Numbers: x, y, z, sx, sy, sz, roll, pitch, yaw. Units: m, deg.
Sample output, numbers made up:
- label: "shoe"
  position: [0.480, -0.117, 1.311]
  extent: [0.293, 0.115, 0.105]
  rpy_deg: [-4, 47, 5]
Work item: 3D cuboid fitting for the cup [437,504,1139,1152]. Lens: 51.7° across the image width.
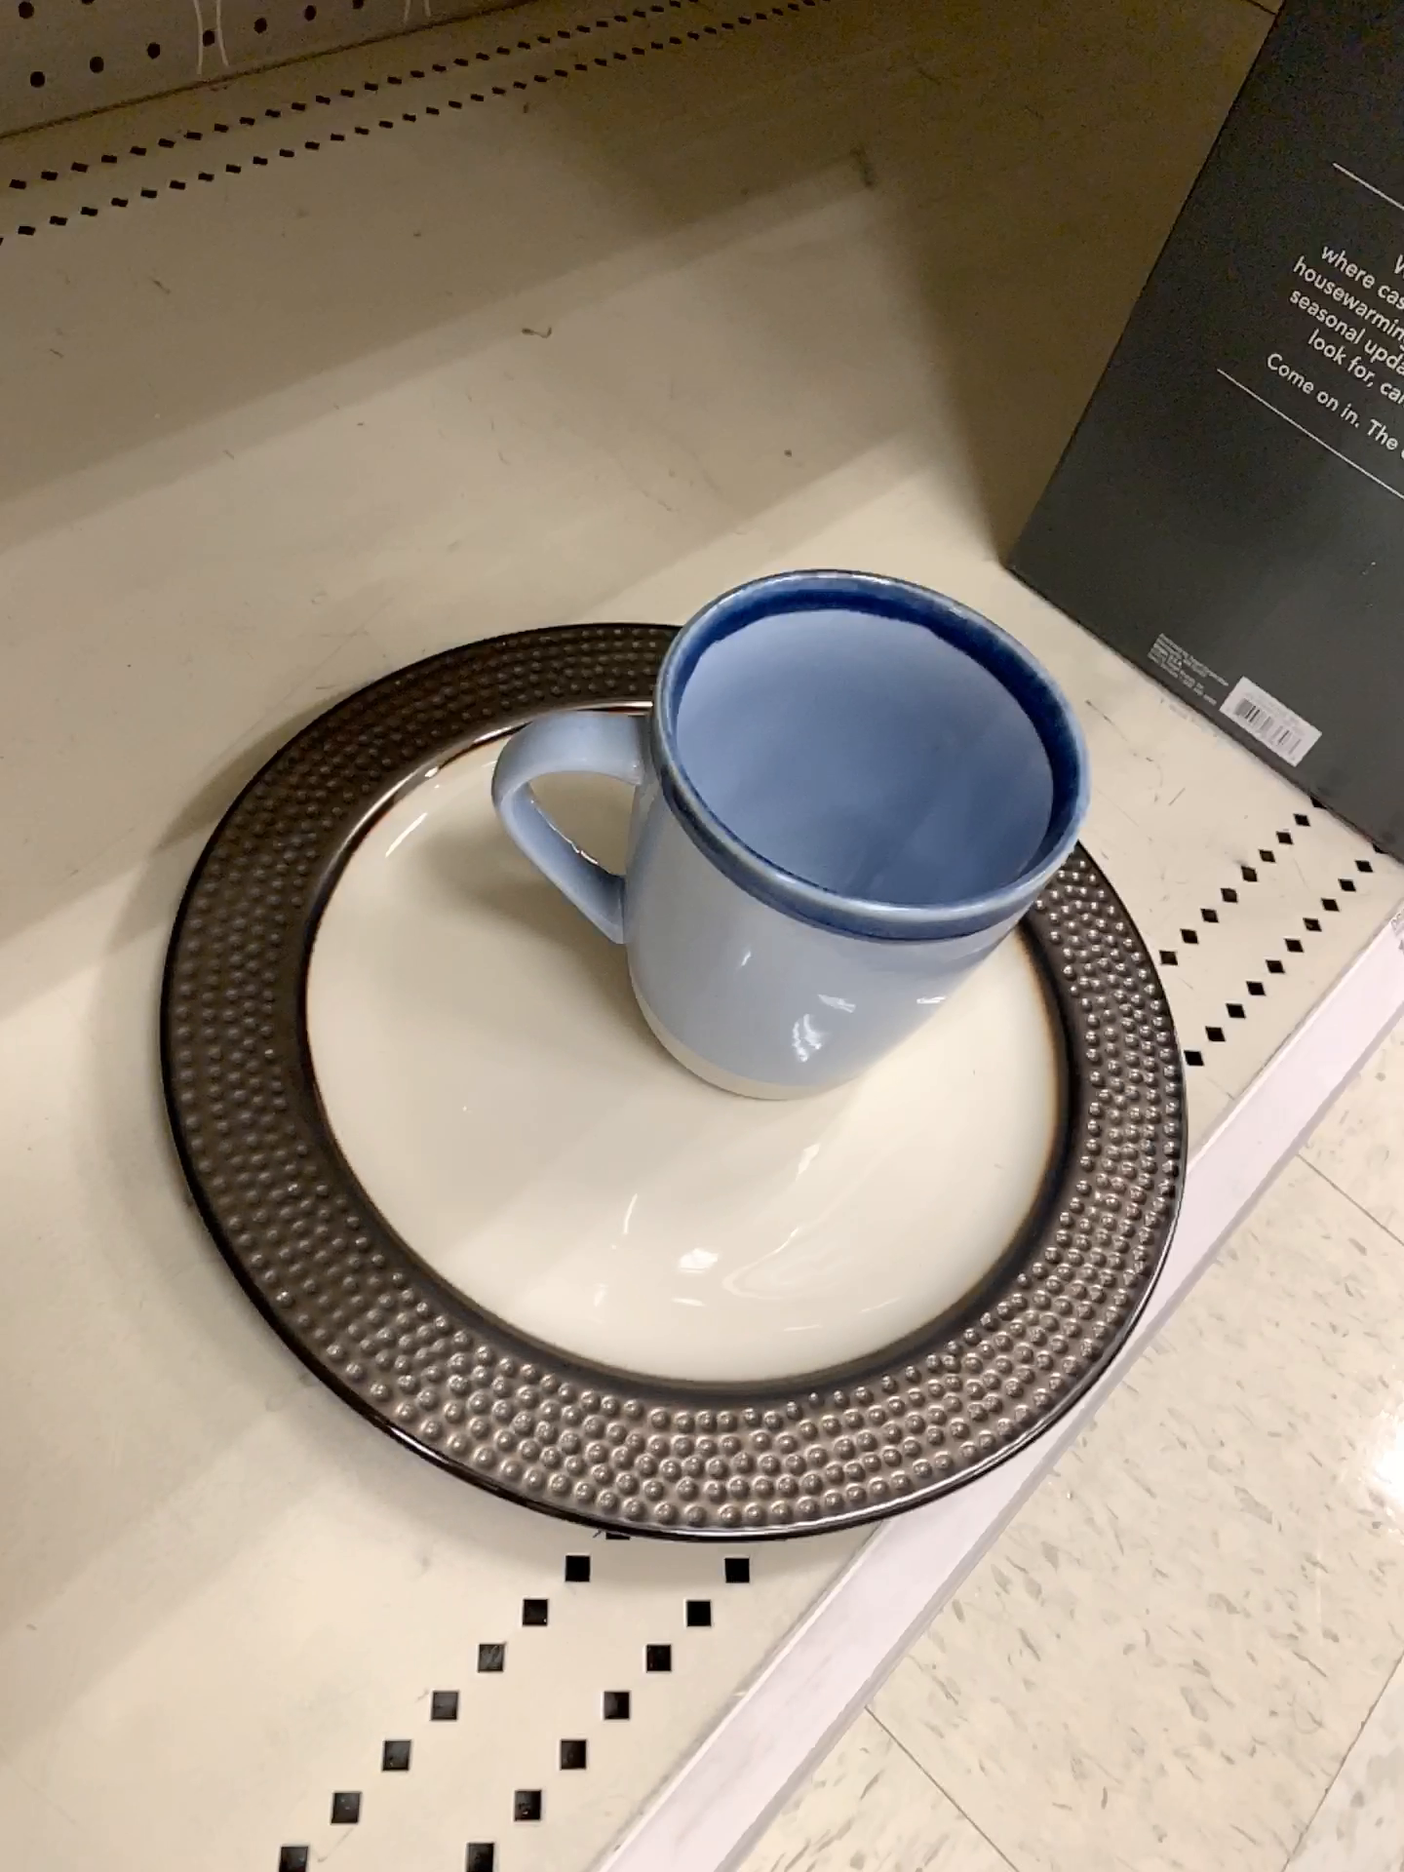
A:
- label: "cup"
  position: [0.012, -0.019, 0.328]
  extent: [0.127, 0.094, 0.094]
  rpy_deg: [7, 57, -9]
